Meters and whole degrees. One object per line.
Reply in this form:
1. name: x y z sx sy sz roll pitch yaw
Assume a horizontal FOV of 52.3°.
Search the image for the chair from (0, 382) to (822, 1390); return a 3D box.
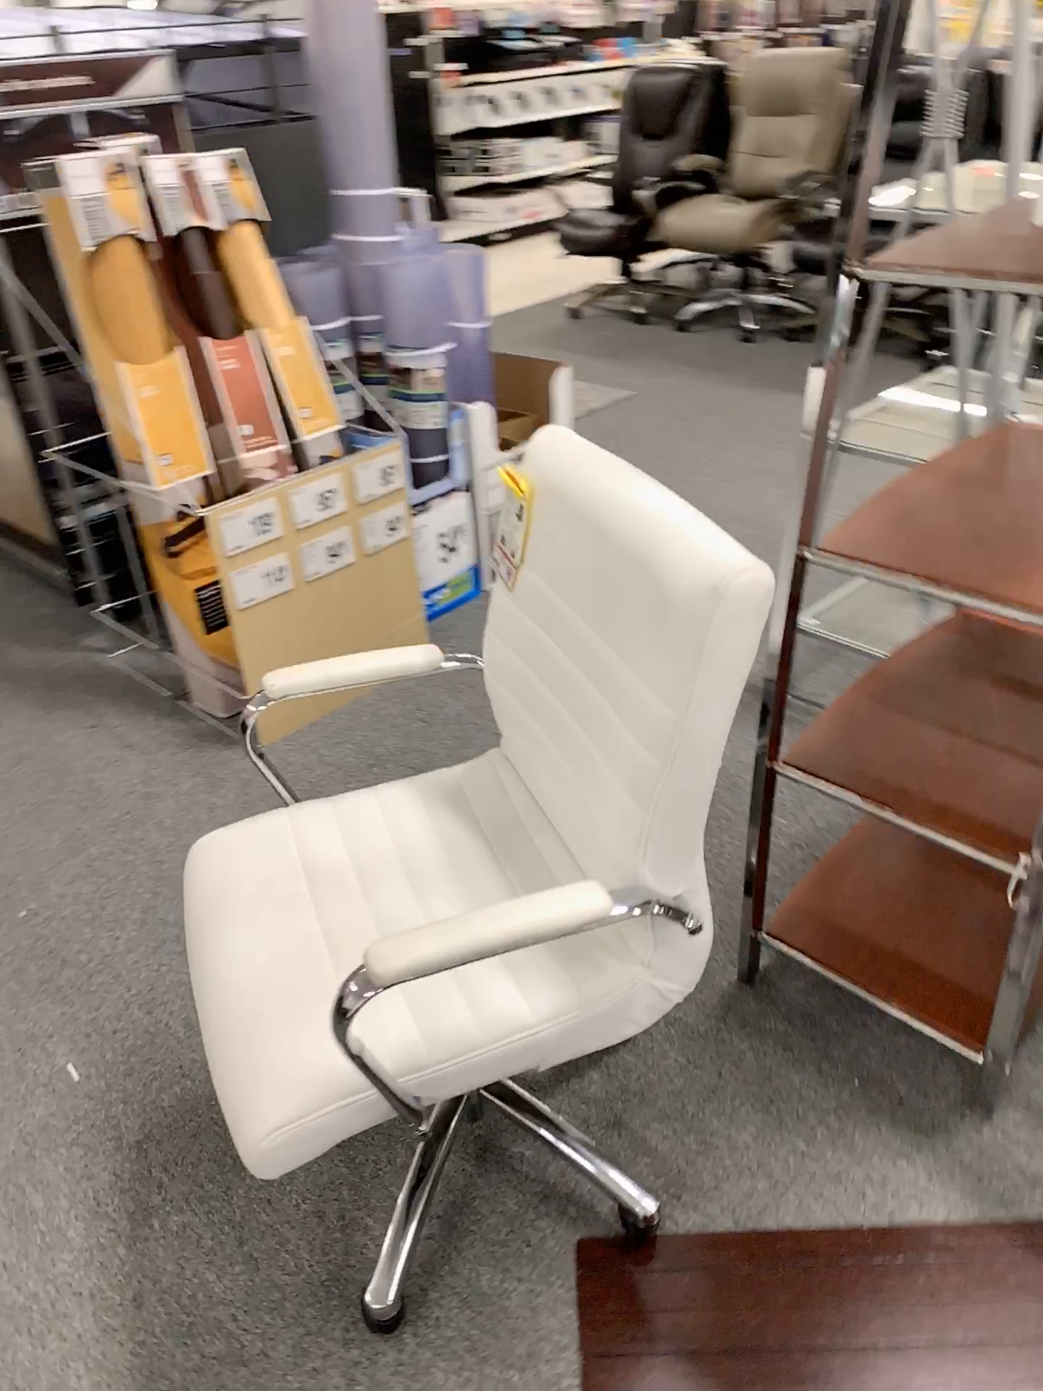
1. chair: -0.138 0.197 1.311 0.680 0.905 0.623 -14 33 -15
